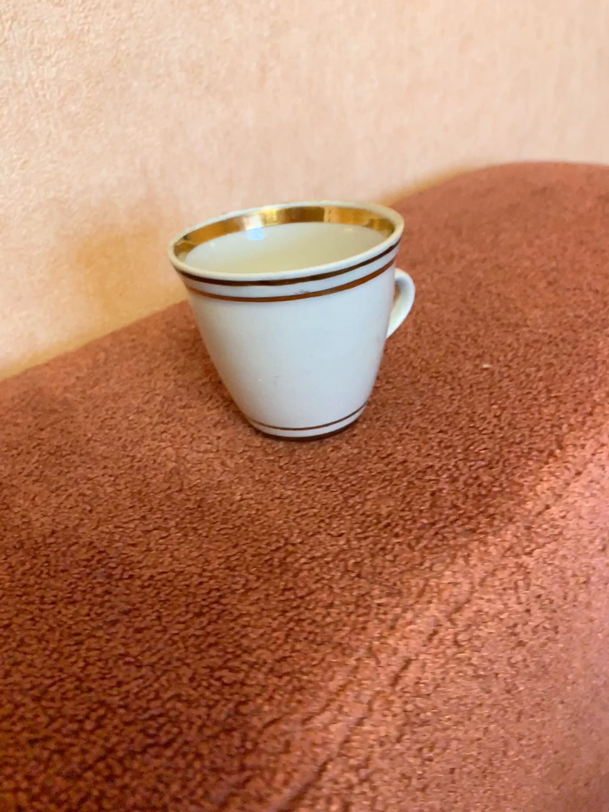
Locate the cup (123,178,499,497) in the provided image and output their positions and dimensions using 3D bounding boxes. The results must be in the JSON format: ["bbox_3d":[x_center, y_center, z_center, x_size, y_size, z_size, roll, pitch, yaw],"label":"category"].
[{"bbox_3d":[0.003,-0.025,0.175,0.078,0.048,0.055,-25,38,-27],"label":"cup"}]
